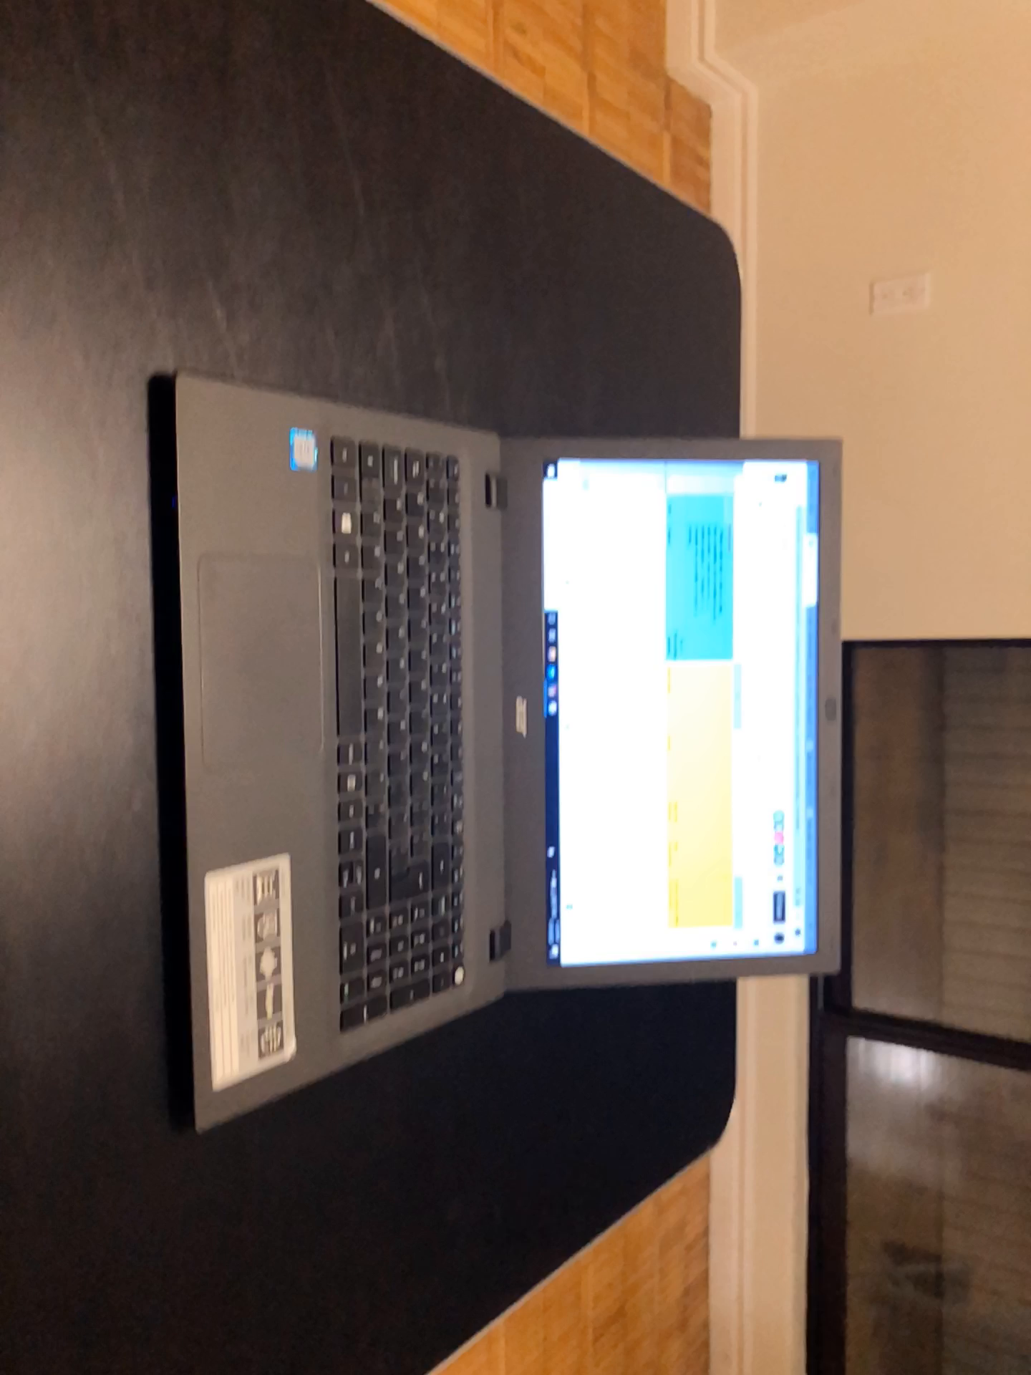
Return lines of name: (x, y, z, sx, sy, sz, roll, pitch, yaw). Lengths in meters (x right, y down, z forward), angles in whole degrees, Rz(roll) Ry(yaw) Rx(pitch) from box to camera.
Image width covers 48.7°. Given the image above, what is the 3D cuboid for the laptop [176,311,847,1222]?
laptop: (0.038, 0.026, 0.683, 0.432, 0.161, 0.374, -6, 95, -53)
